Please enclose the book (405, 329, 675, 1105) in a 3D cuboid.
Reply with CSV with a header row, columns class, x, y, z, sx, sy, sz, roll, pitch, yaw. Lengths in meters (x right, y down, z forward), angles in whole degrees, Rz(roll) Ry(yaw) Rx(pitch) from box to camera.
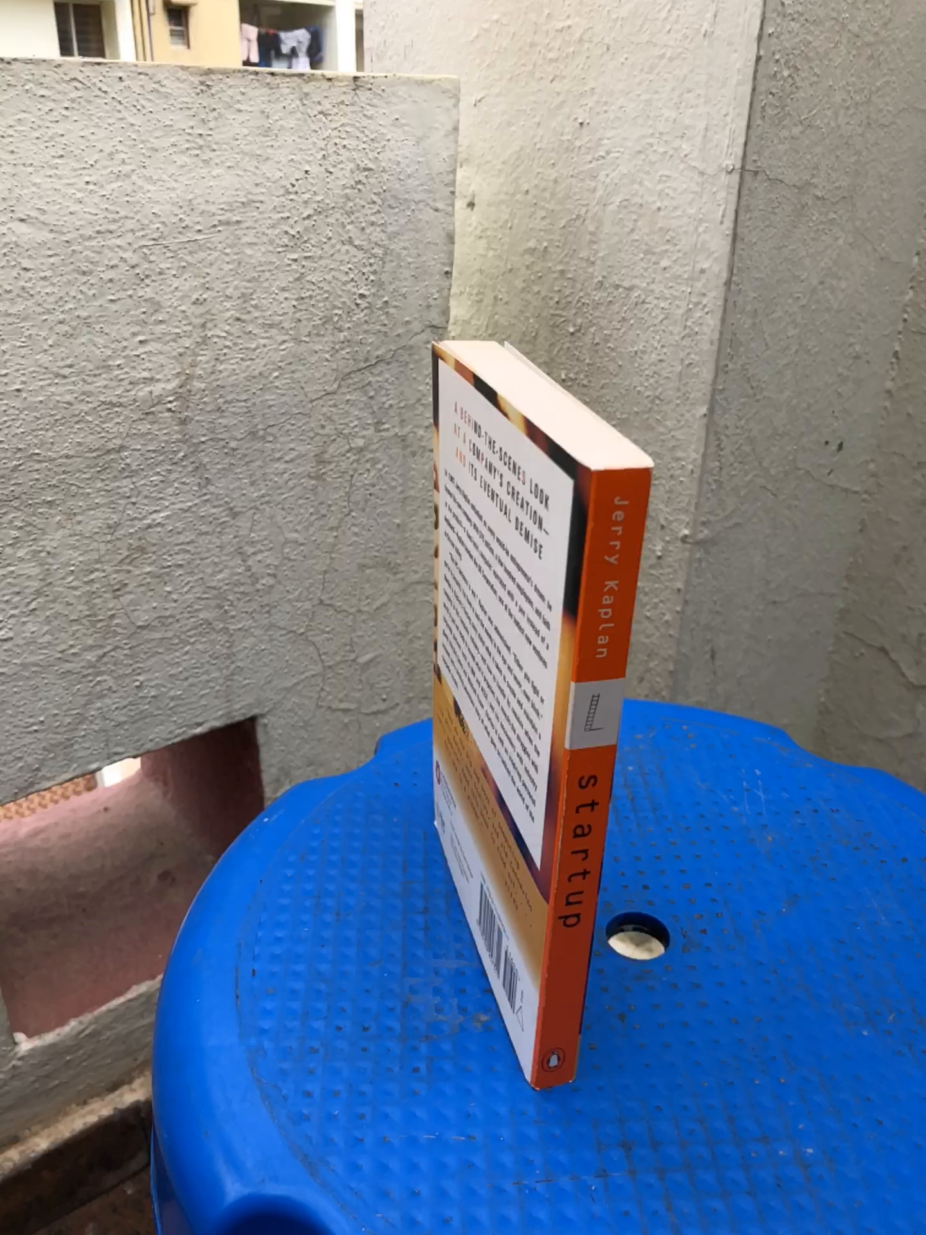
class,x,y,z,sx,sy,sz,roll,pitch,yaw
book,0.011,0.024,0.328,0.030,0.199,0.141,-5,27,-14
